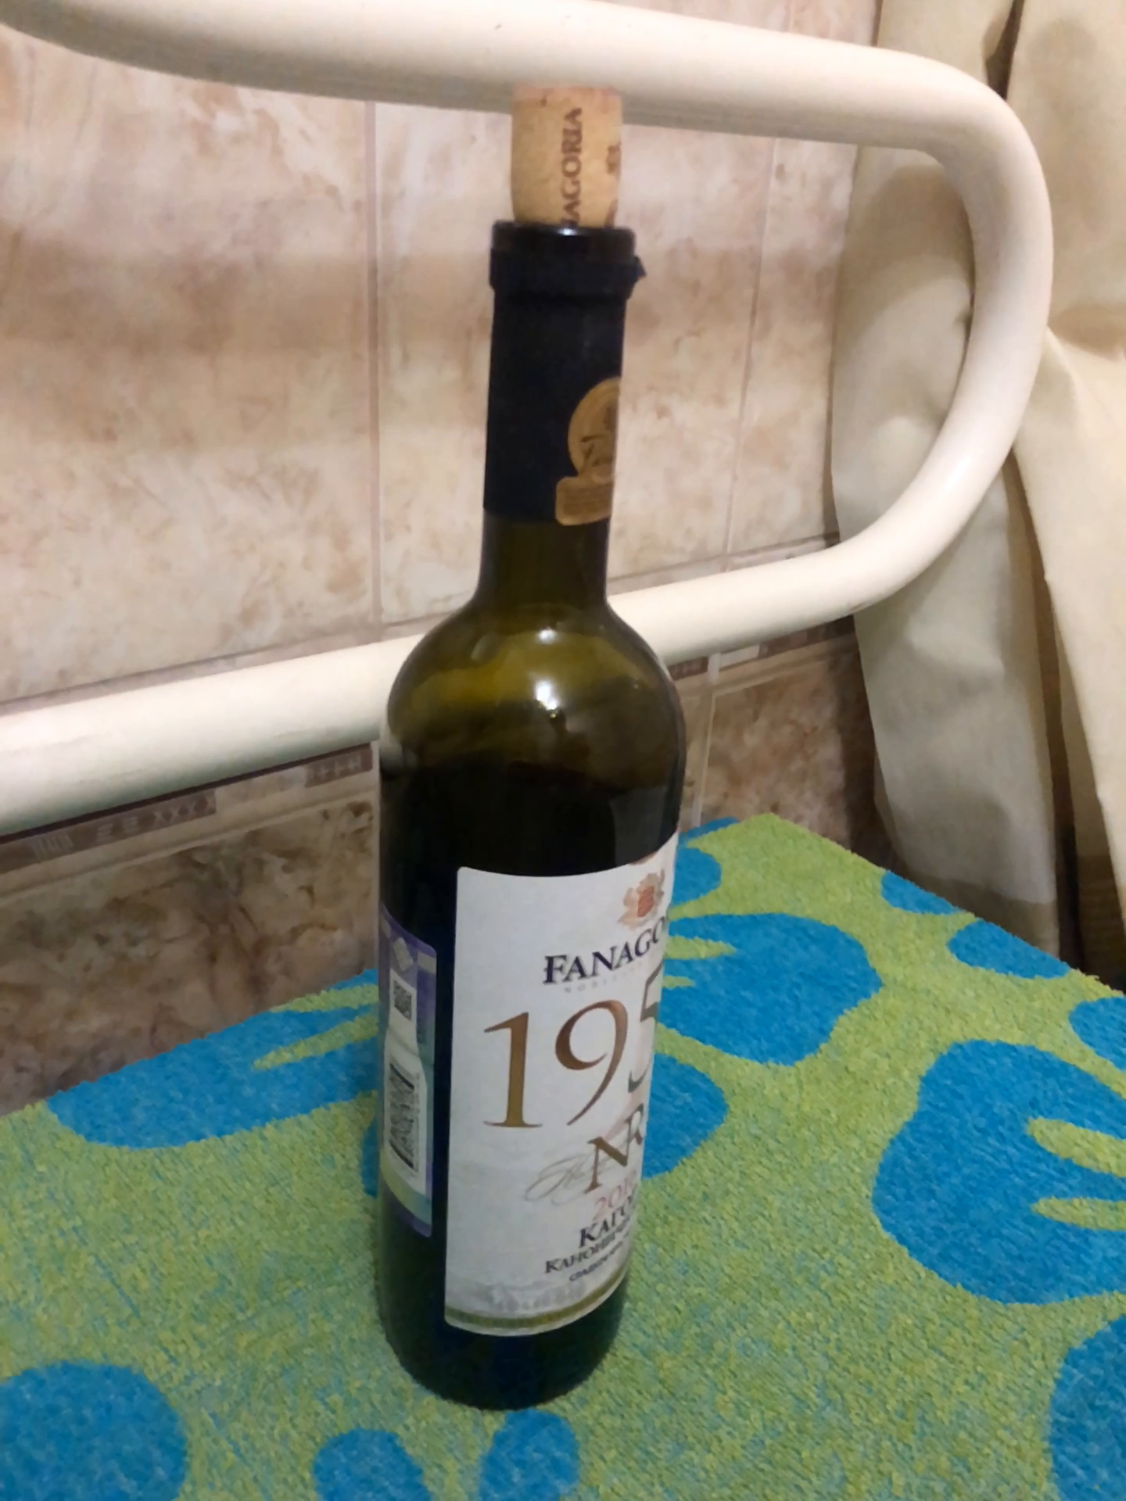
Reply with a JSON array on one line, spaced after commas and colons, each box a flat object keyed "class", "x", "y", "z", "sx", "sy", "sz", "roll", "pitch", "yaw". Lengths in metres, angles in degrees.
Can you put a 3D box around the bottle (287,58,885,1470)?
[{"class": "bottle", "x": -0.007, "y": 0.018, "z": 0.301, "sx": 0.080, "sy": 0.318, "sz": 0.080, "roll": 3, "pitch": 26, "yaw": -2}]
